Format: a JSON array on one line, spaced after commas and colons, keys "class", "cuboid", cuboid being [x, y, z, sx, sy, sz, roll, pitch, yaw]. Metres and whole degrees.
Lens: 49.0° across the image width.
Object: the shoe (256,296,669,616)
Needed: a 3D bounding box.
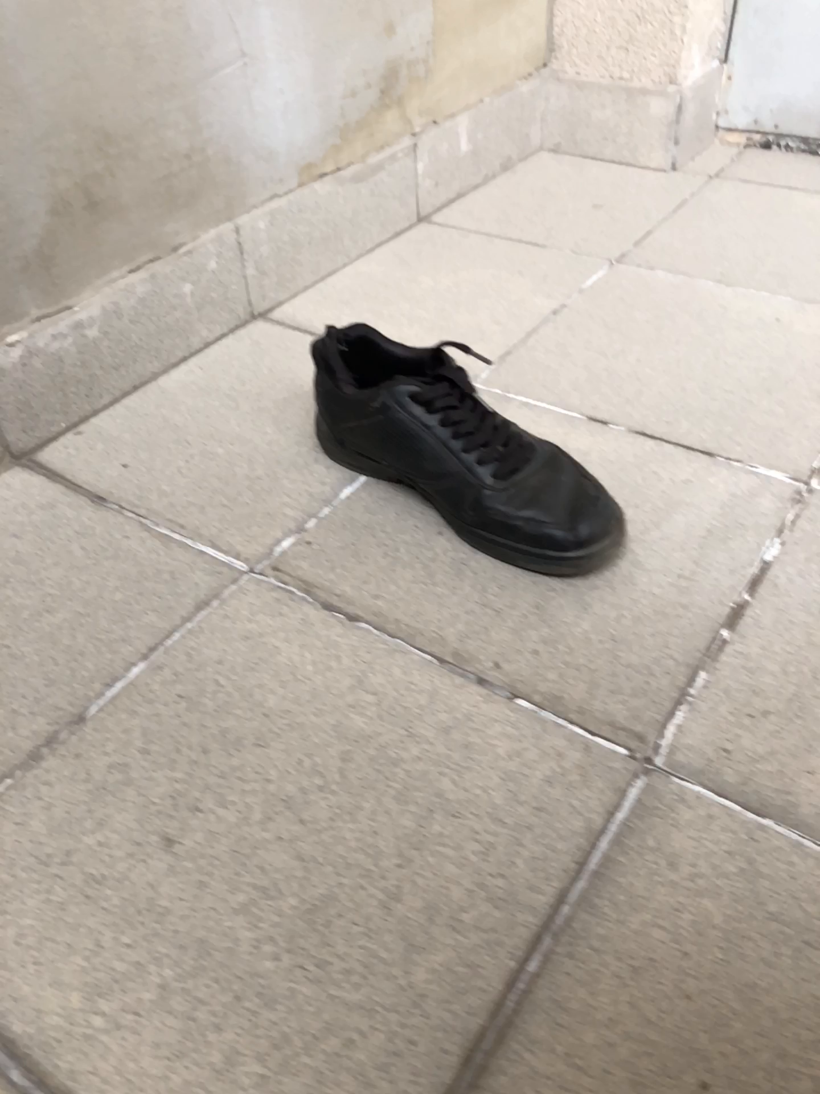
[{"class": "shoe", "cuboid": [0.027, -0.081, 0.665, 0.291, 0.099, 0.110, 30, 50, 34]}]
